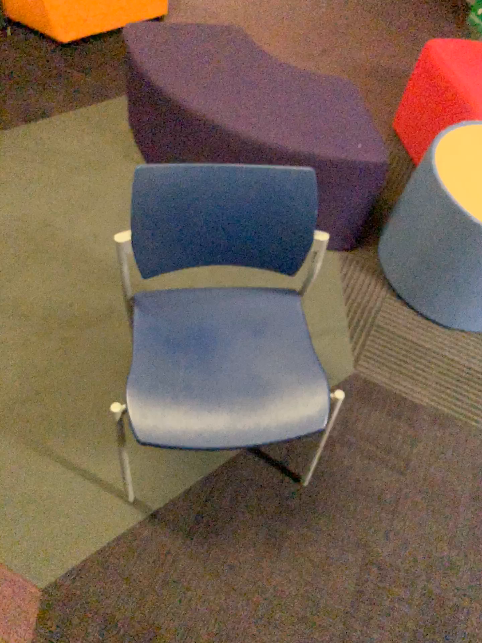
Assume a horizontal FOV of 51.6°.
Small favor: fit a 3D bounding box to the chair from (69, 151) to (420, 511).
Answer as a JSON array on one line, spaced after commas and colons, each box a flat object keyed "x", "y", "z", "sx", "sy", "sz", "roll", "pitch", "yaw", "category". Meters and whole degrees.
[{"x": -0.045, "y": 0.060, "z": 1.230, "sx": 0.560, "sy": 0.695, "sz": 0.574, "roll": -2, "pitch": 56, "yaw": -8, "category": "chair"}]
